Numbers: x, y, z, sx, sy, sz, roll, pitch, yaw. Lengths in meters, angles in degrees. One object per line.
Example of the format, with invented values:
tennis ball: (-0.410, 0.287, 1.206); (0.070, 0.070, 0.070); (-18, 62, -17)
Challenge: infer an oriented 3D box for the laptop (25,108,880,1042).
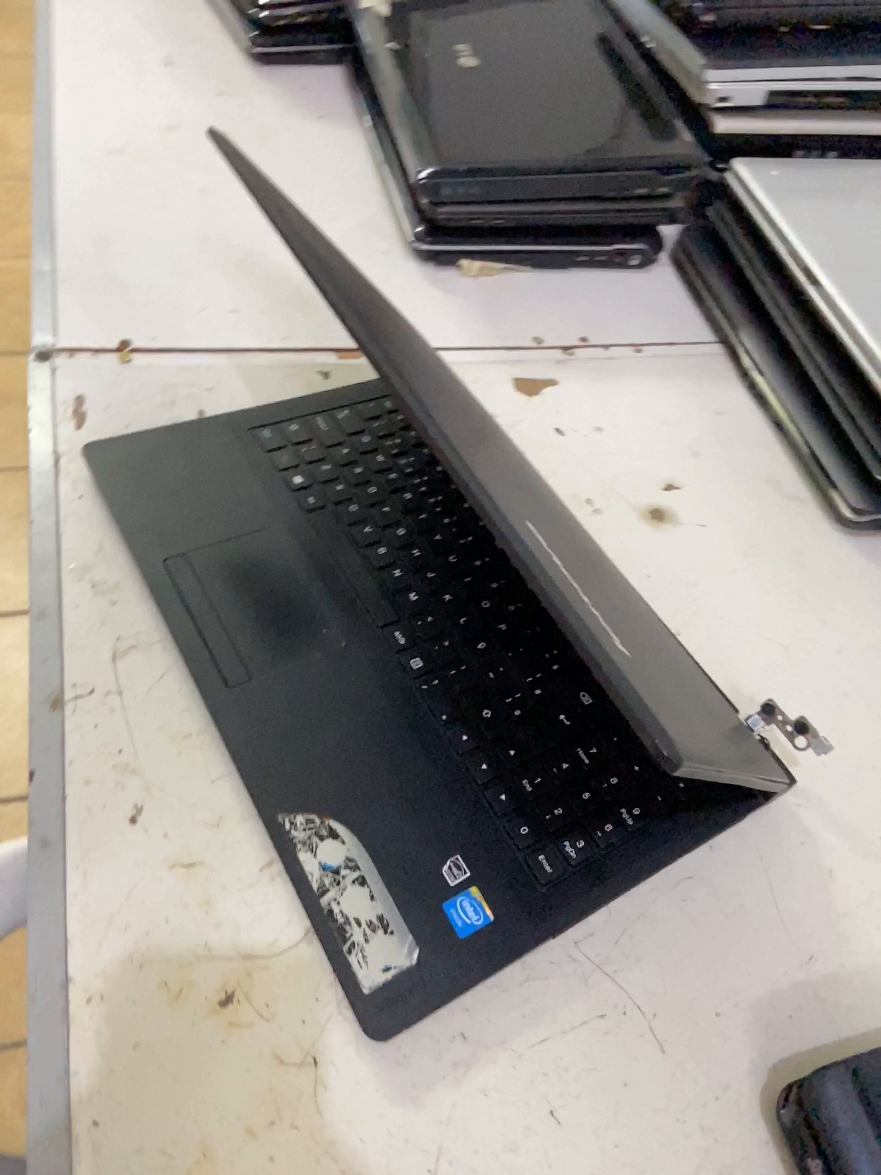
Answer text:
laptop: (0.001, -0.043, 0.451); (0.258, 0.189, 0.377); (-20, 59, -26)
